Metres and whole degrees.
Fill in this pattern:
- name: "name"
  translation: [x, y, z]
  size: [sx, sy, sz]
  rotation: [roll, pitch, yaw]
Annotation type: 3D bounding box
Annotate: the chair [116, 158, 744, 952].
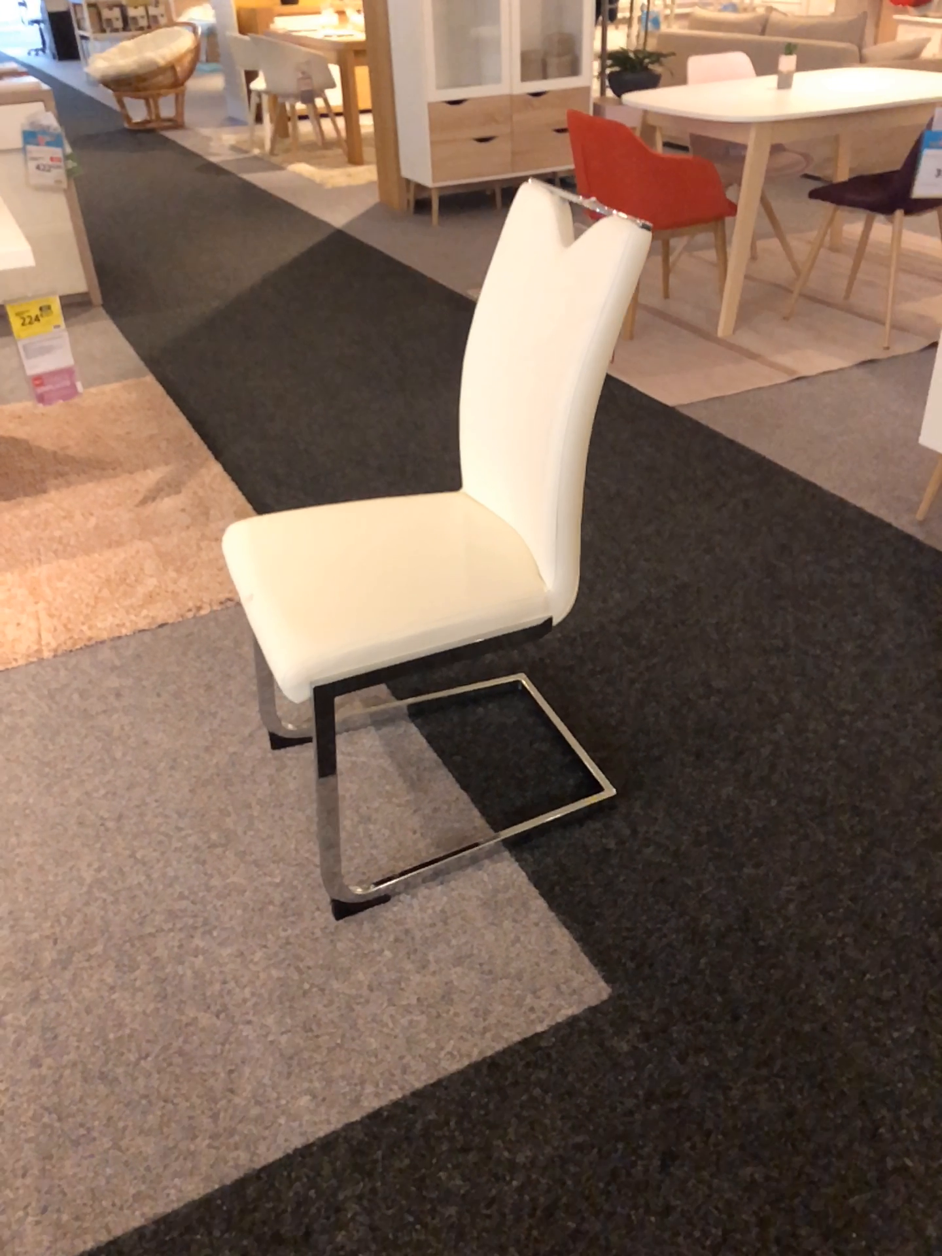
- name: "chair"
  translation: [-0.071, -0.138, 1.548]
  size: [0.632, 0.915, 0.562]
  rotation: [-15, 35, -19]
